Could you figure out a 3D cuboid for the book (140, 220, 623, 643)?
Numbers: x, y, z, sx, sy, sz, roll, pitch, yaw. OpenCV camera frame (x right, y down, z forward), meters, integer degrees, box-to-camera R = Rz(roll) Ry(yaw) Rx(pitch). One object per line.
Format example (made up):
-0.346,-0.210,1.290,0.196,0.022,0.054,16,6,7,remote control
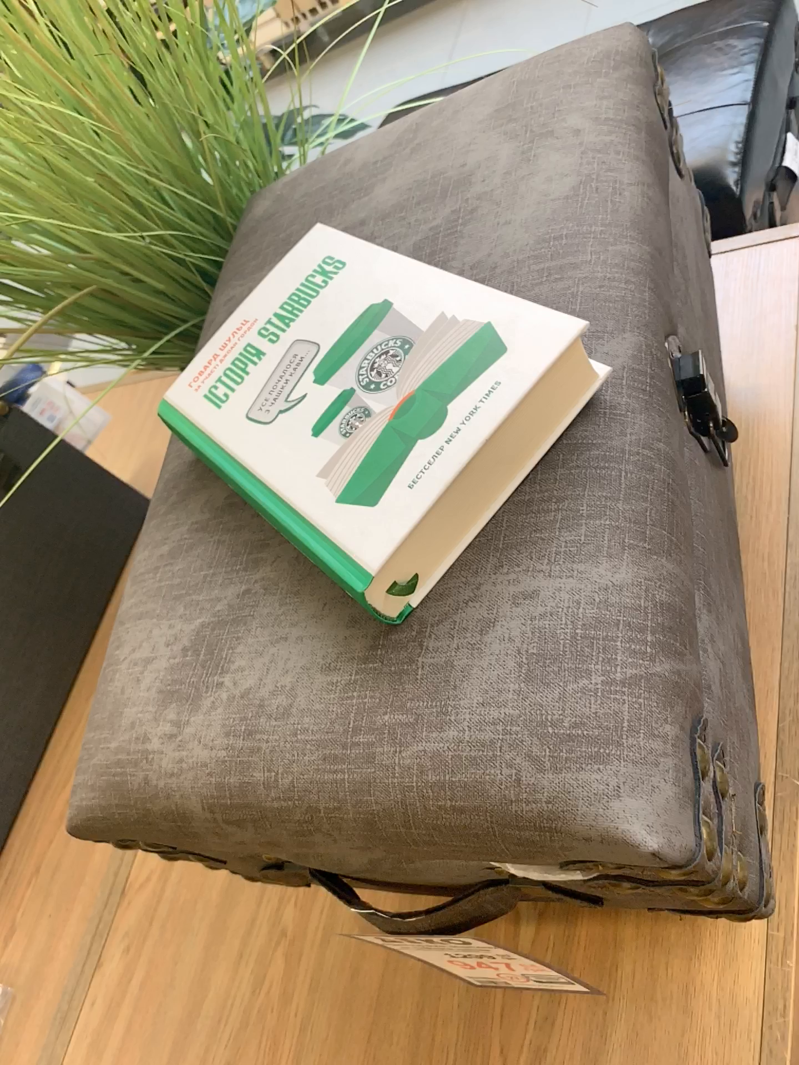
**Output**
-0.028,-0.072,0.435,0.160,0.040,0.236,-50,45,-4,book
